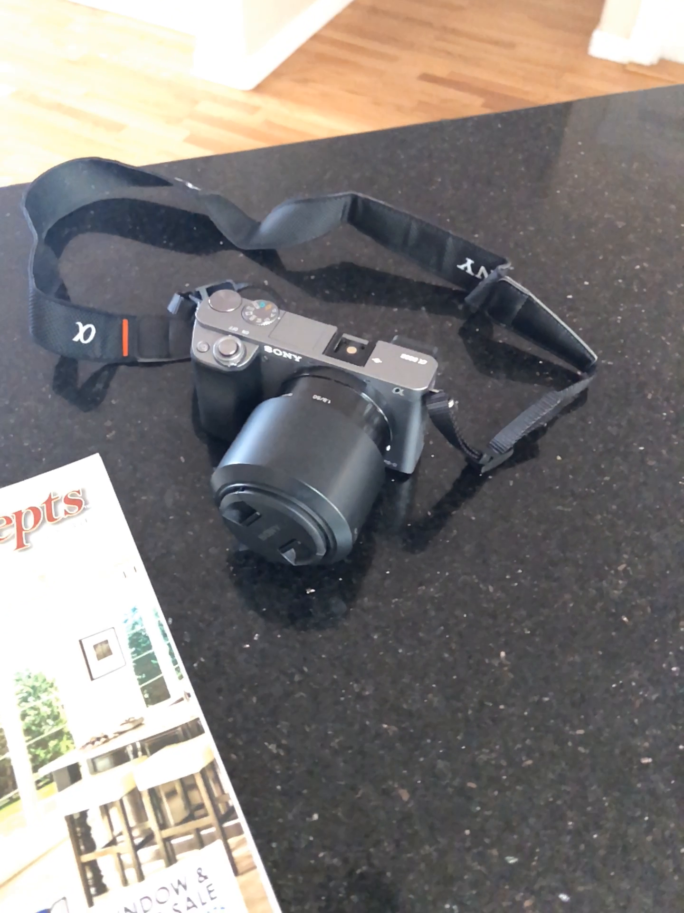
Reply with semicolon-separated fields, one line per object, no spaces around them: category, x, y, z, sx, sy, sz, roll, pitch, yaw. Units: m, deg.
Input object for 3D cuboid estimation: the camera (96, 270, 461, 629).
camera;-0.025;-0.004;0.366;0.127;0.100;0.100;20;55;13
